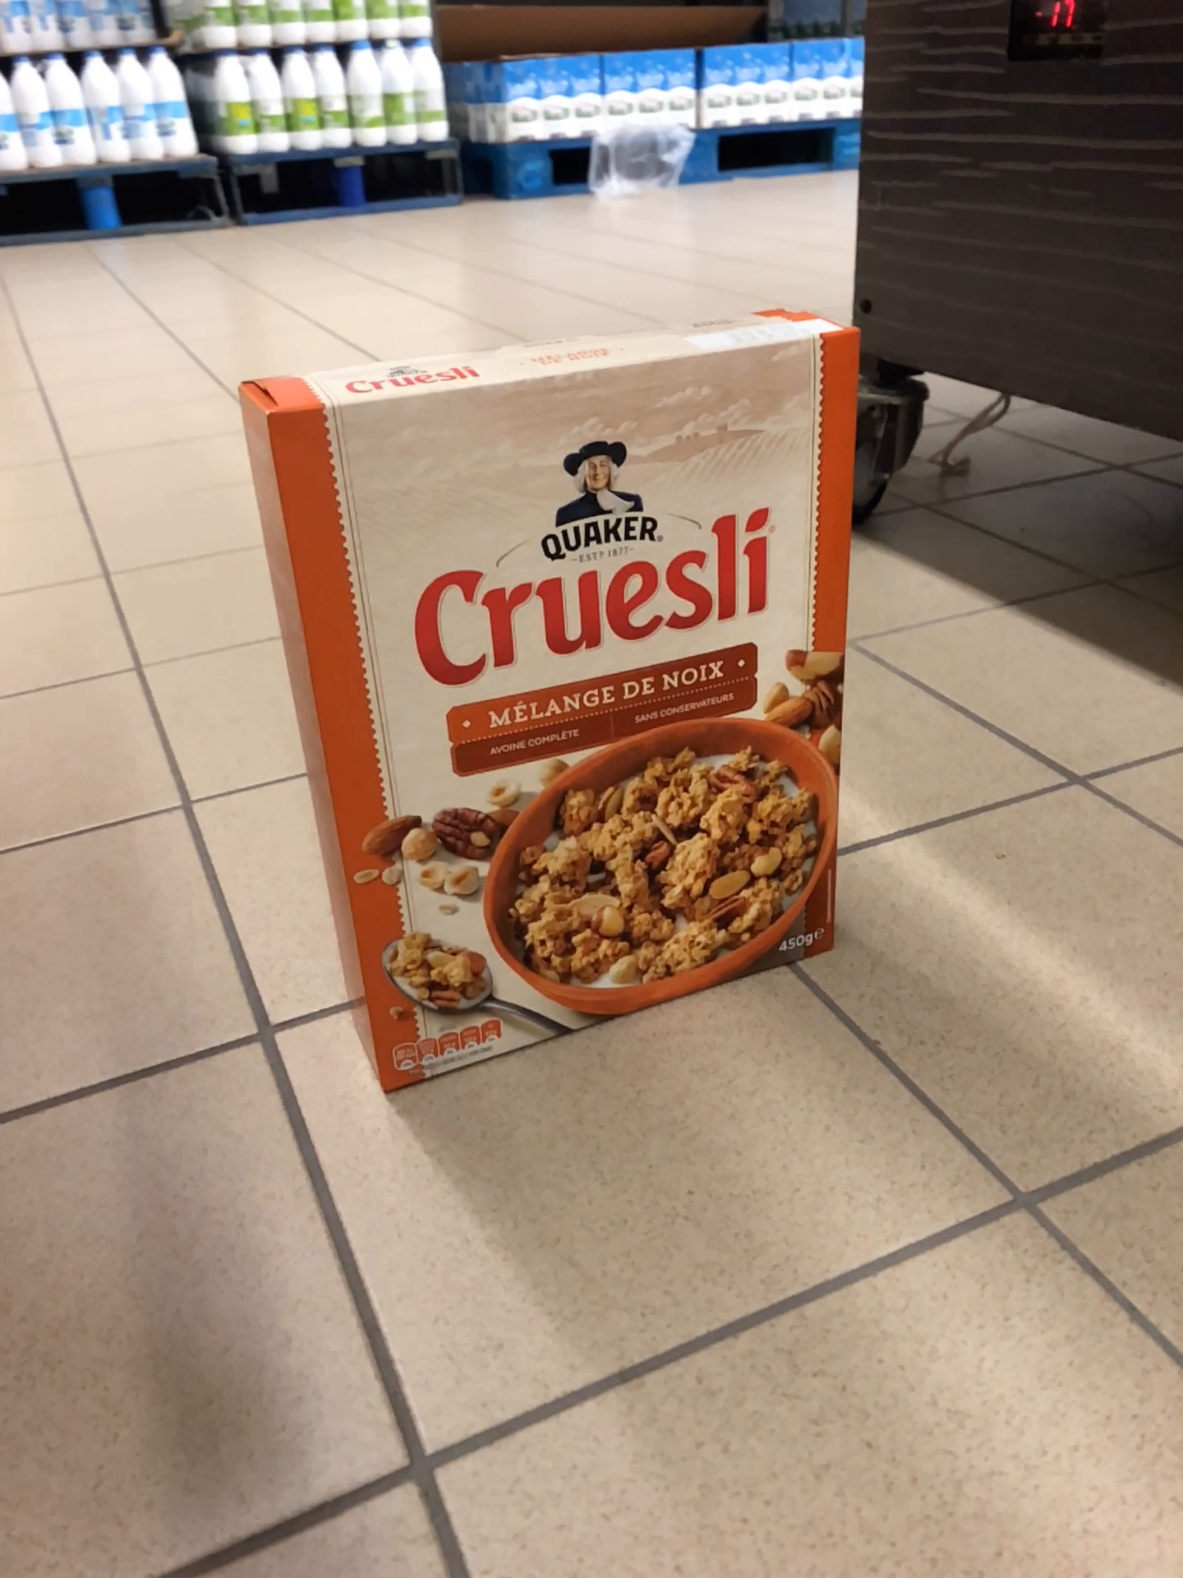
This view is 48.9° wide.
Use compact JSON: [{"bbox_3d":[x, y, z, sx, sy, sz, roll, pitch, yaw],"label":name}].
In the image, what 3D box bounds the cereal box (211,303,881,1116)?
[{"bbox_3d":[-0.007,-0.027,0.462,0.200,0.249,0.060,-13,29,-17],"label":"cereal box"}]
